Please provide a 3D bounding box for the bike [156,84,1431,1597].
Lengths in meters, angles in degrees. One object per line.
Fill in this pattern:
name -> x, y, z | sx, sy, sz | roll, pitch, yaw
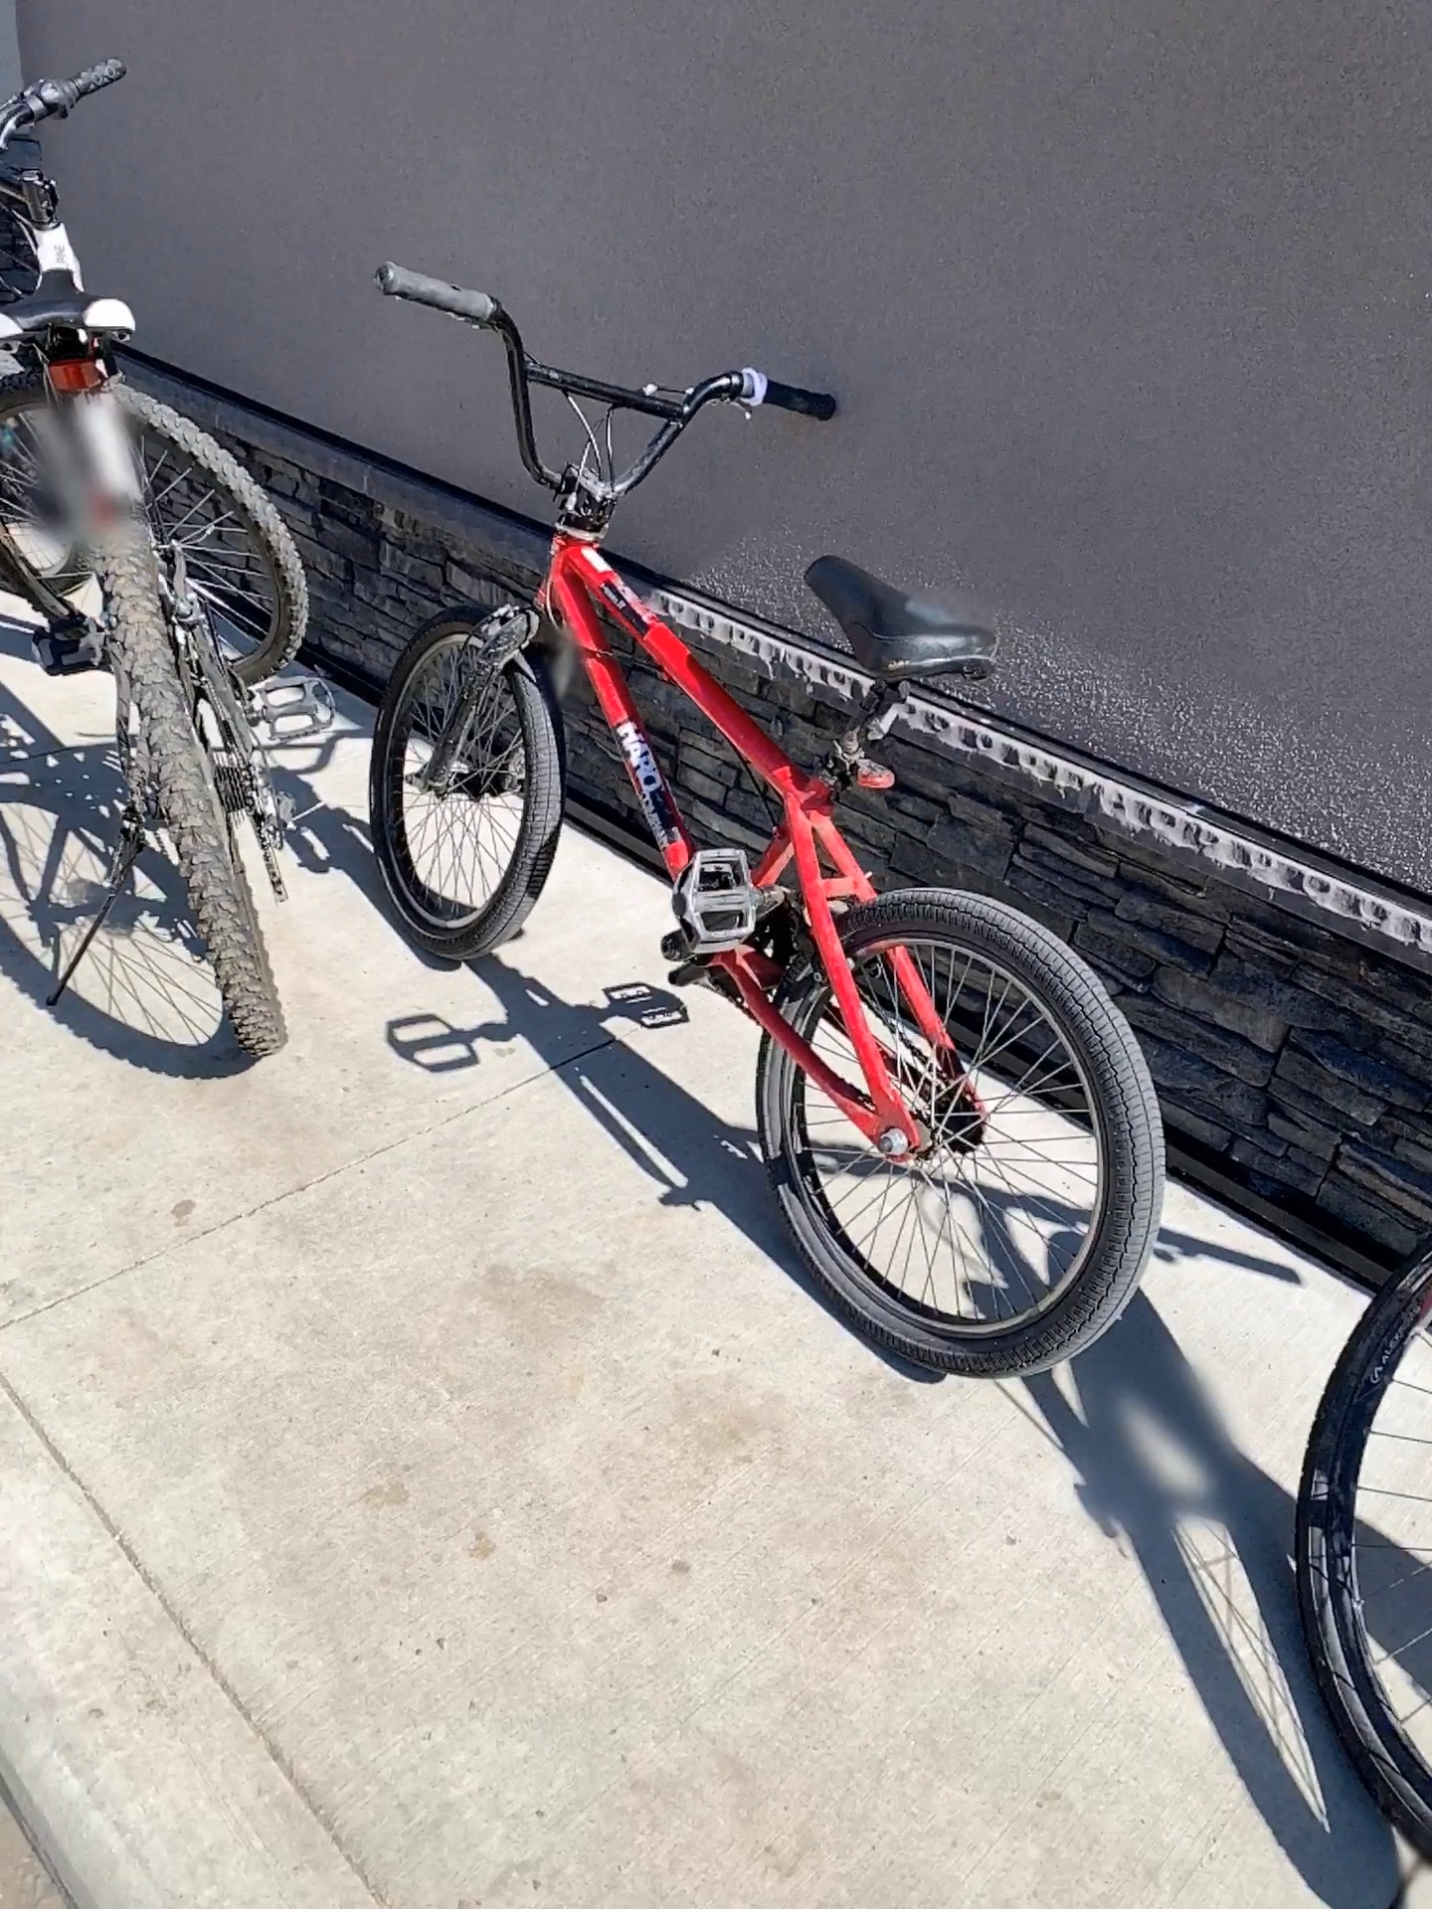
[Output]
bike -> 0.037, -0.283, 1.658 | 0.775, 0.908, 1.316 | -17, 42, -37
